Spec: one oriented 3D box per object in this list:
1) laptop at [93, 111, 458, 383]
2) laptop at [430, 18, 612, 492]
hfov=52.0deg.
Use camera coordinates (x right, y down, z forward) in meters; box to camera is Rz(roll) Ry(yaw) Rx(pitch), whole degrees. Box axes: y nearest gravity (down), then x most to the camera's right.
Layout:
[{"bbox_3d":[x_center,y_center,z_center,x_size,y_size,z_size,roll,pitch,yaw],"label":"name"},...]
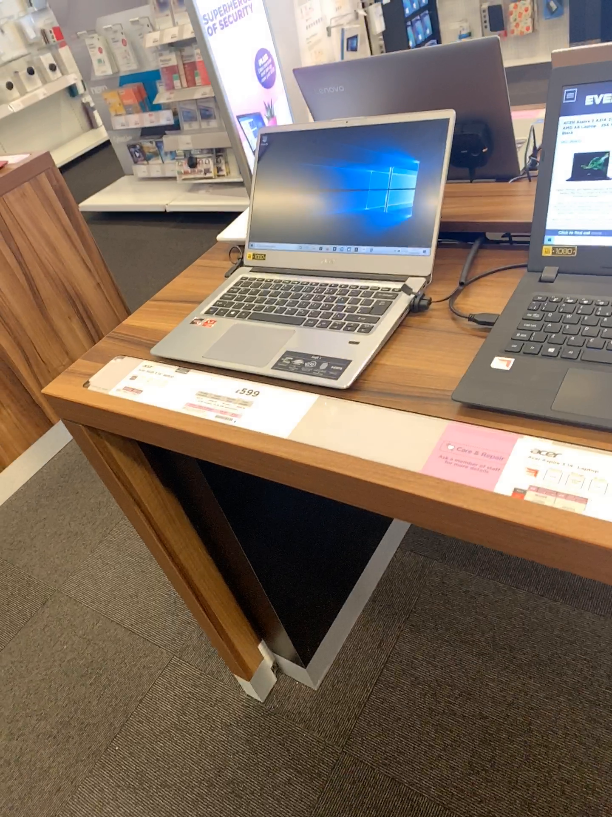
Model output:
[{"bbox_3d":[-0.021,-0.228,0.825,0.308,0.153,0.360,11,47,33],"label":"laptop"},{"bbox_3d":[0.360,-0.165,0.570,0.372,0.191,0.358,9,47,30],"label":"laptop"}]
